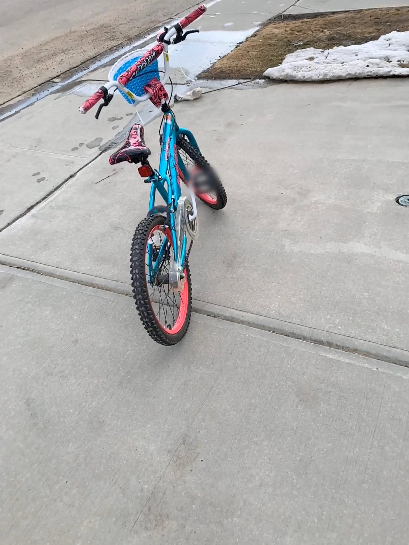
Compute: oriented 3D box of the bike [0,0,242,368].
[{"bbox_3d":[-0.286,-0.442,1.690,0.743,0.946,1.265,-3,44,4],"label":"bike"}]
